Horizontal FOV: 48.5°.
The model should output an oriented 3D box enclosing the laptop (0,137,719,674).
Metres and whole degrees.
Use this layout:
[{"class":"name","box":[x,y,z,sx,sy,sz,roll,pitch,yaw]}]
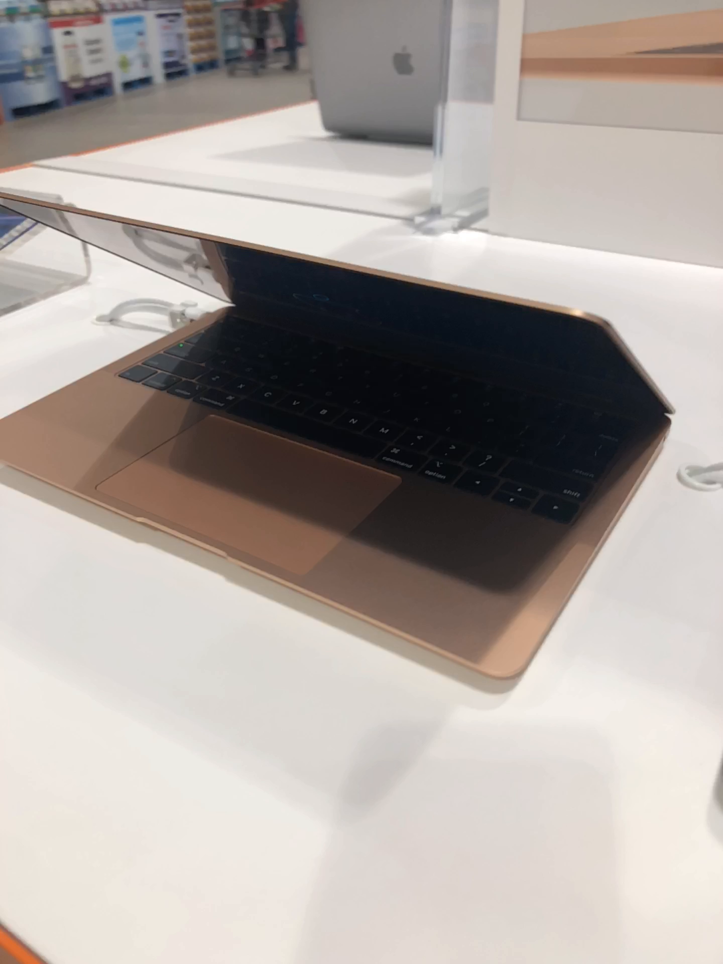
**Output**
[{"class":"laptop","box":[-0.022,-0.072,0.375,0.296,0.106,0.200,18,38,27]}]
